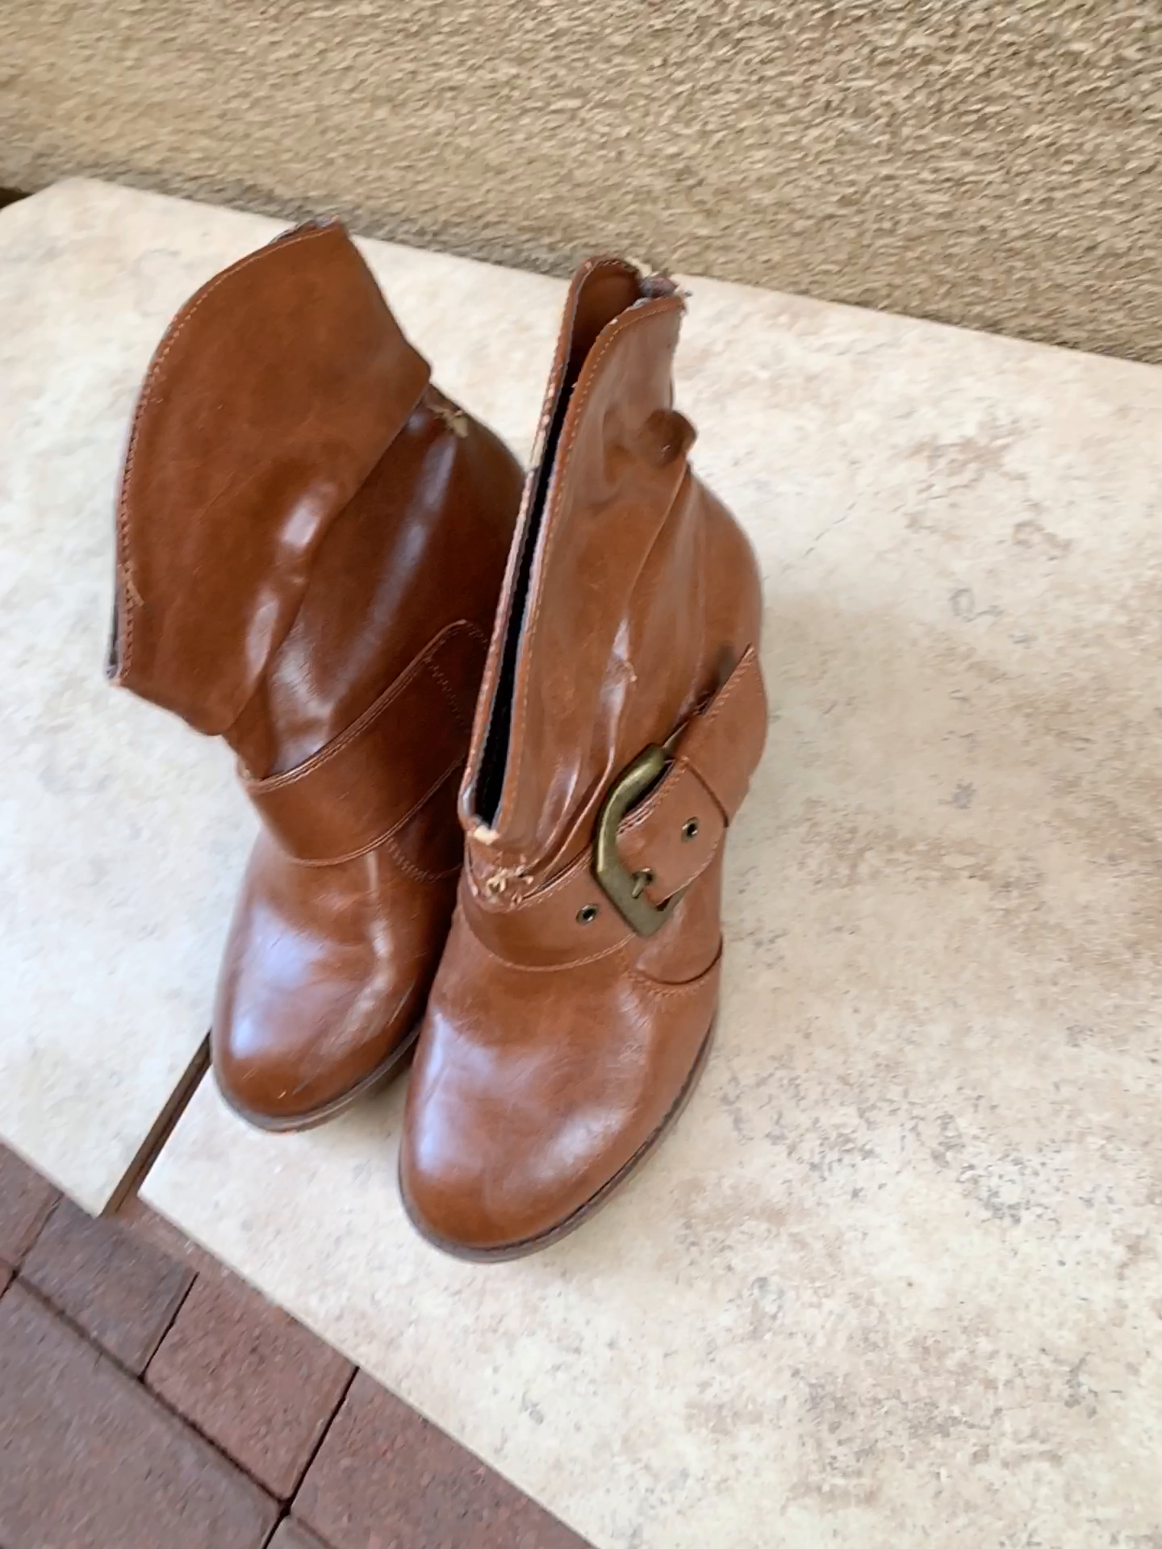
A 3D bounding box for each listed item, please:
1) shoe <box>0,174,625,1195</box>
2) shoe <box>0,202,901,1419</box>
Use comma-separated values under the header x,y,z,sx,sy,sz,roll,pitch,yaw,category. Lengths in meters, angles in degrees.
x,y,z,sx,sy,sz,roll,pitch,yaw,category
-0.101,-0.012,0.375,0.096,0.199,0.245,16,75,25,shoe
-0.014,0.019,0.332,0.100,0.199,0.245,21,77,26,shoe
